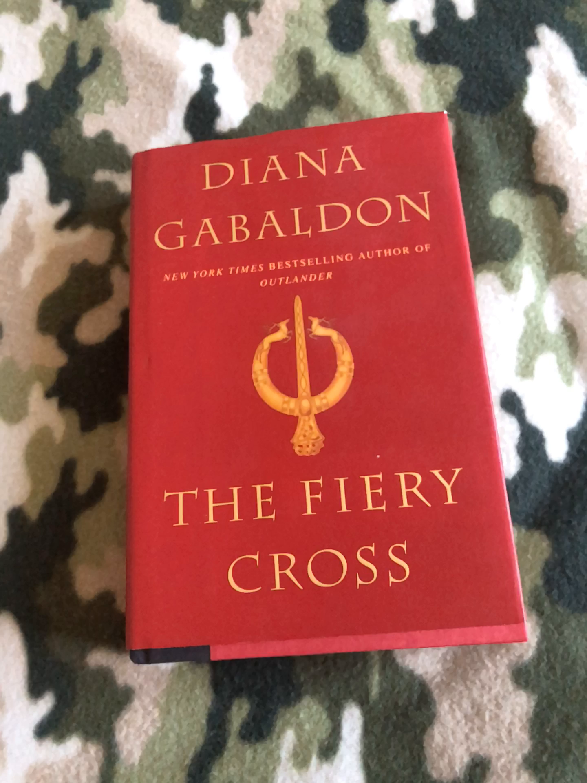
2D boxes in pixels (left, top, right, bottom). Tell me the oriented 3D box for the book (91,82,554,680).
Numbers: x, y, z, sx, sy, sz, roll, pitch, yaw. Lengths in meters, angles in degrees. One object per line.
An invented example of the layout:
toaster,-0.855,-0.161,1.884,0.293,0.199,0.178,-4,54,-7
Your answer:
book,0.004,-0.009,0.309,0.170,0.070,0.250,-5,73,4
